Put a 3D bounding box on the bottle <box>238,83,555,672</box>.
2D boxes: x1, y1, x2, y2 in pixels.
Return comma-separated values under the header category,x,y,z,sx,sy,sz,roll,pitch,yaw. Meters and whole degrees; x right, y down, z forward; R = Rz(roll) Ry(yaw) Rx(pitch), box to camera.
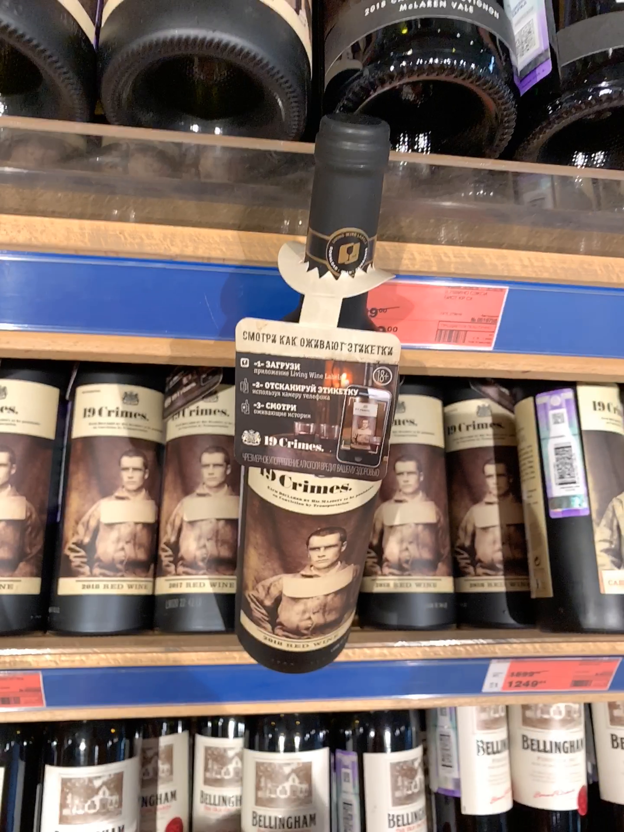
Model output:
category,x,y,z,sx,sy,sz,roll,pitch,yaw
bottle,0.015,0.008,0.331,0.086,0.299,0.082,6,37,-4
